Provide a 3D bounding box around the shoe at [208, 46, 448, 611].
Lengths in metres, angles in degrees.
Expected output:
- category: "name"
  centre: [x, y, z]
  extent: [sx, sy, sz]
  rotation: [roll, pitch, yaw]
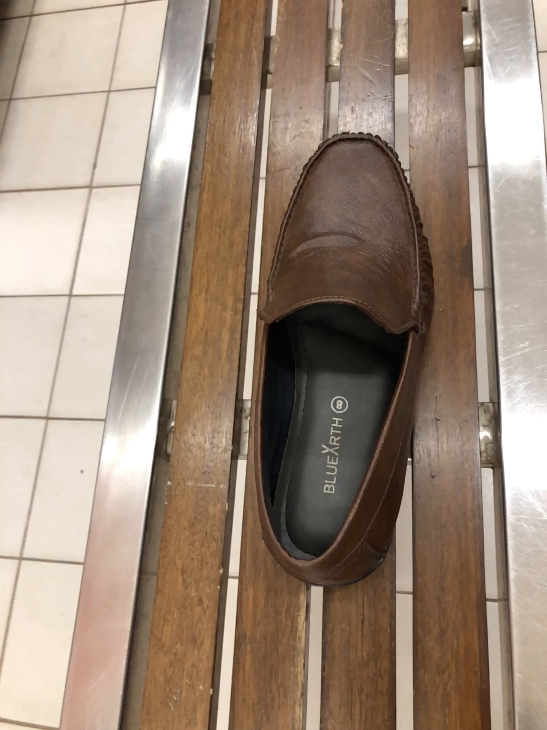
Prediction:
- category: "shoe"
  centre: [0.045, -0.026, 0.358]
  extent: [0.103, 0.094, 0.302]
  rotation: [2, 73, 13]
